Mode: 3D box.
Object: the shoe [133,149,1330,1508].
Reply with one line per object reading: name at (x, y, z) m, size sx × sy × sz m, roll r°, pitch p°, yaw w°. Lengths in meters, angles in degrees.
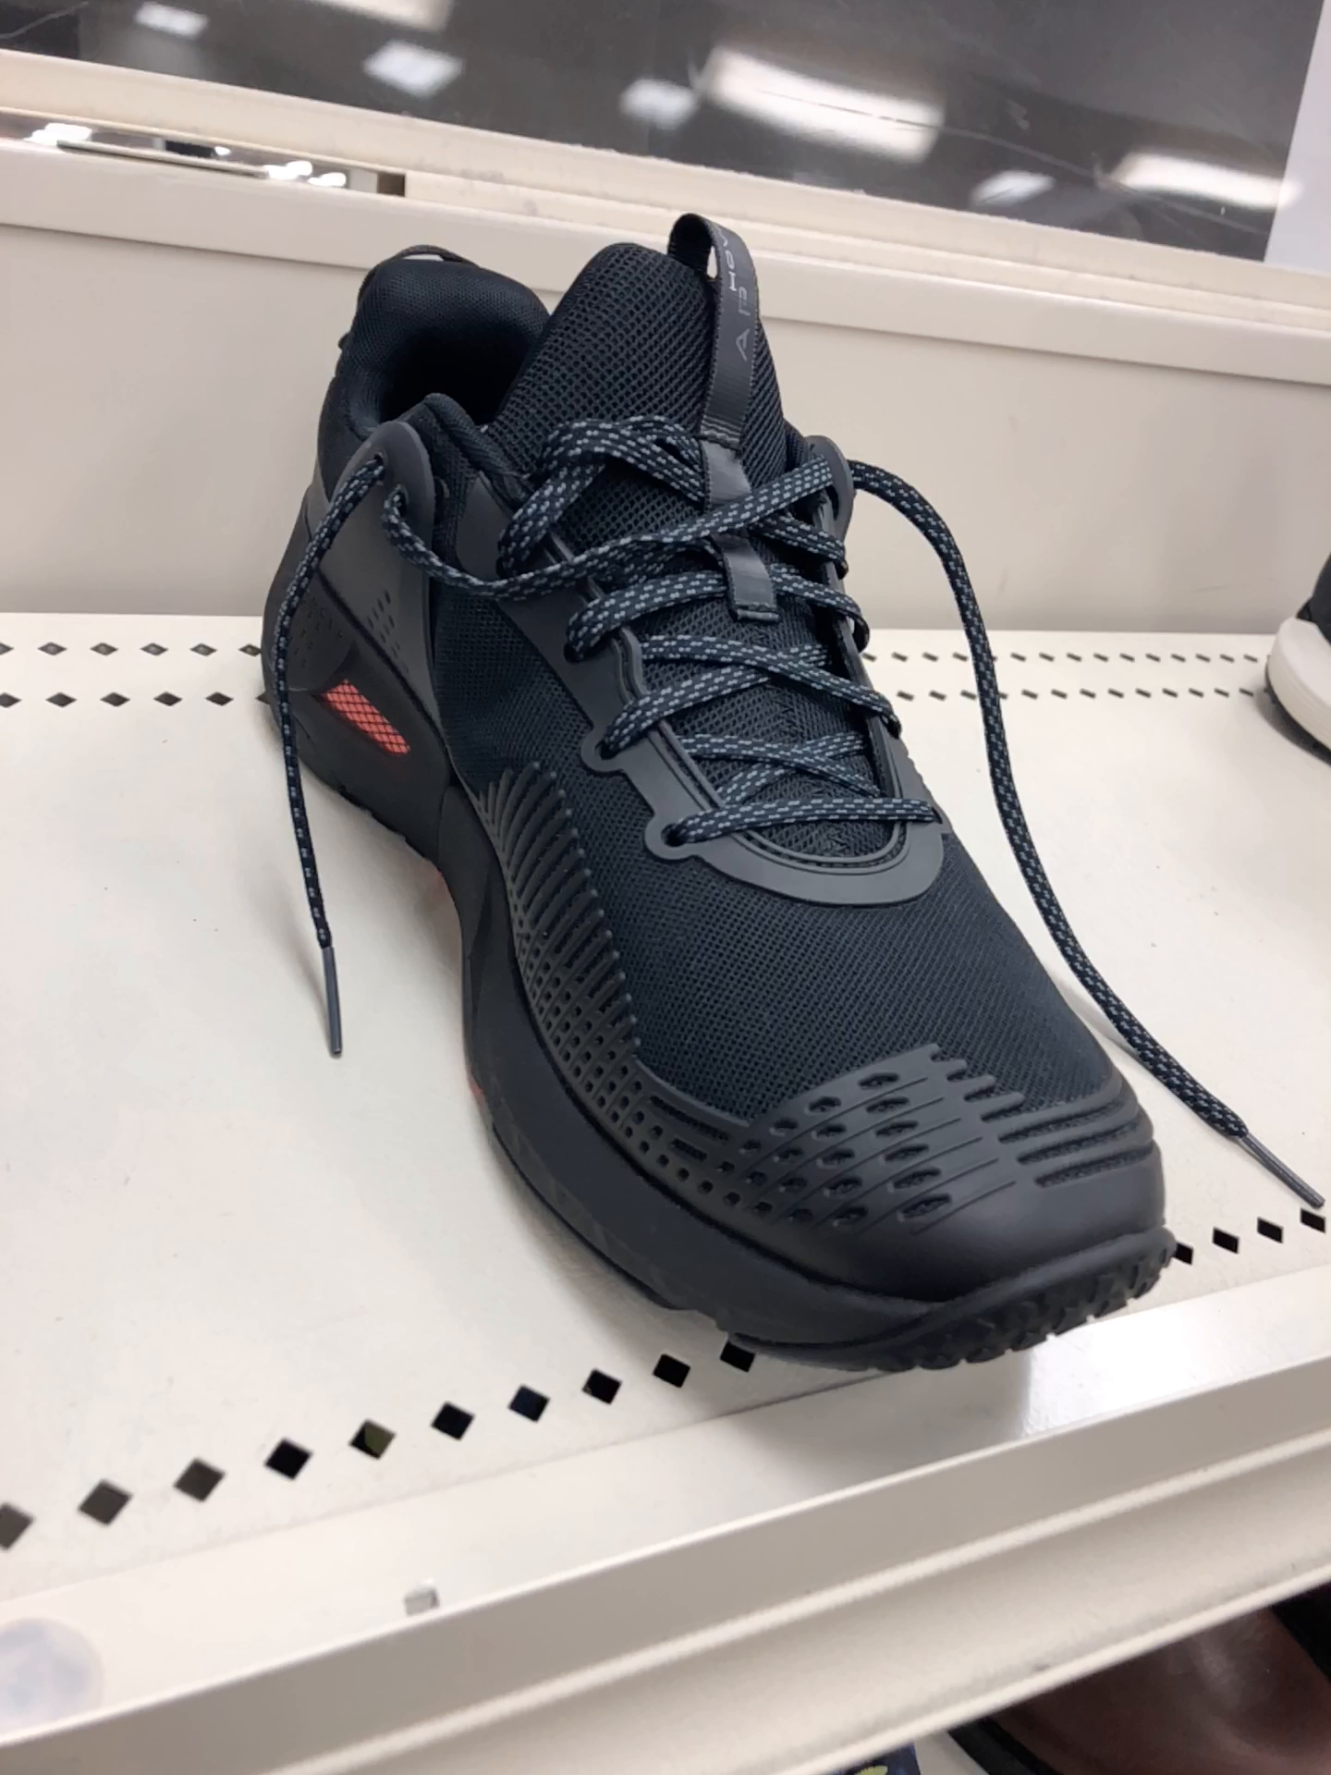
shoe at (-0.021, -0.064, 0.330) m, size 0.120 × 0.129 × 0.352 m, roll -5°, pitch 32°, yaw -29°
